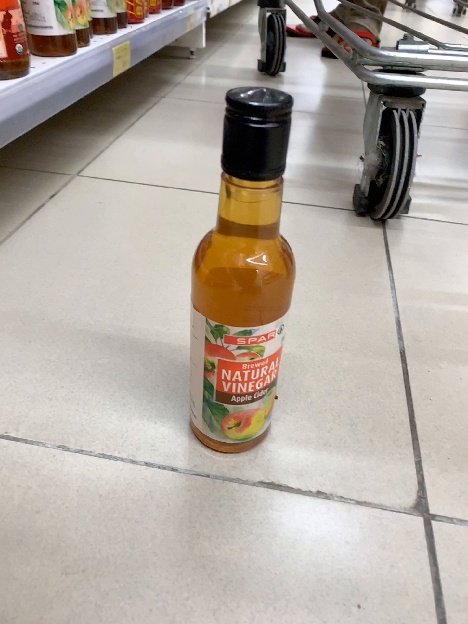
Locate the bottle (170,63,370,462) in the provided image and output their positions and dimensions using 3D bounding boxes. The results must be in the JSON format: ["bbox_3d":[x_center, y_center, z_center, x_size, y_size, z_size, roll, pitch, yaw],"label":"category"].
[{"bbox_3d":[0.007,-0.012,0.271,0.070,0.219,0.060,-6,39,-12],"label":"bottle"}]
